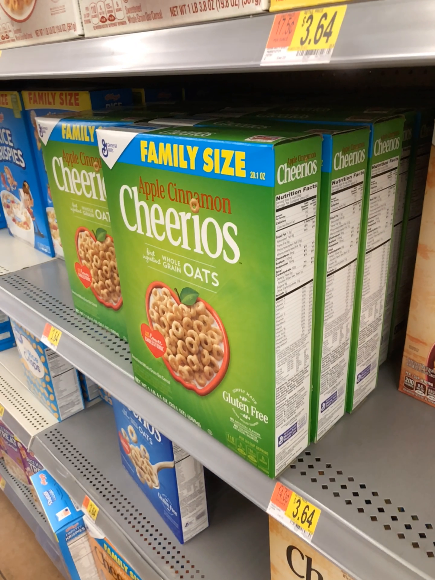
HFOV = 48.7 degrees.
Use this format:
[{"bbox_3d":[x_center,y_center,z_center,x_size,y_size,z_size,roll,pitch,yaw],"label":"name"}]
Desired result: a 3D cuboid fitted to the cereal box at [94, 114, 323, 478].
[{"bbox_3d":[-0.017,-0.006,0.484,0.060,0.309,0.231,-23,32,-38],"label":"cereal box"}]
